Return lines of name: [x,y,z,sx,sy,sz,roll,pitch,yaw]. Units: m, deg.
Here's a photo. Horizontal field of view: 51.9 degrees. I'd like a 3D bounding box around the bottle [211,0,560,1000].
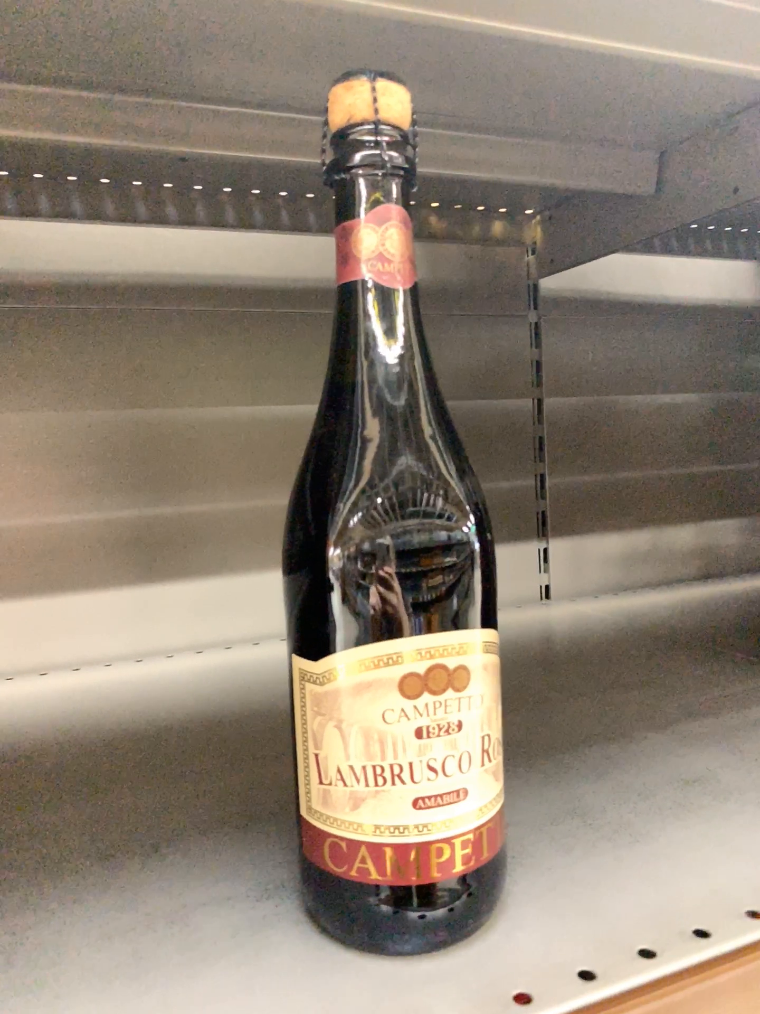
bottle: [0.000,-0.001,0.287,0.090,0.300,0.080,-4,4,-23]
